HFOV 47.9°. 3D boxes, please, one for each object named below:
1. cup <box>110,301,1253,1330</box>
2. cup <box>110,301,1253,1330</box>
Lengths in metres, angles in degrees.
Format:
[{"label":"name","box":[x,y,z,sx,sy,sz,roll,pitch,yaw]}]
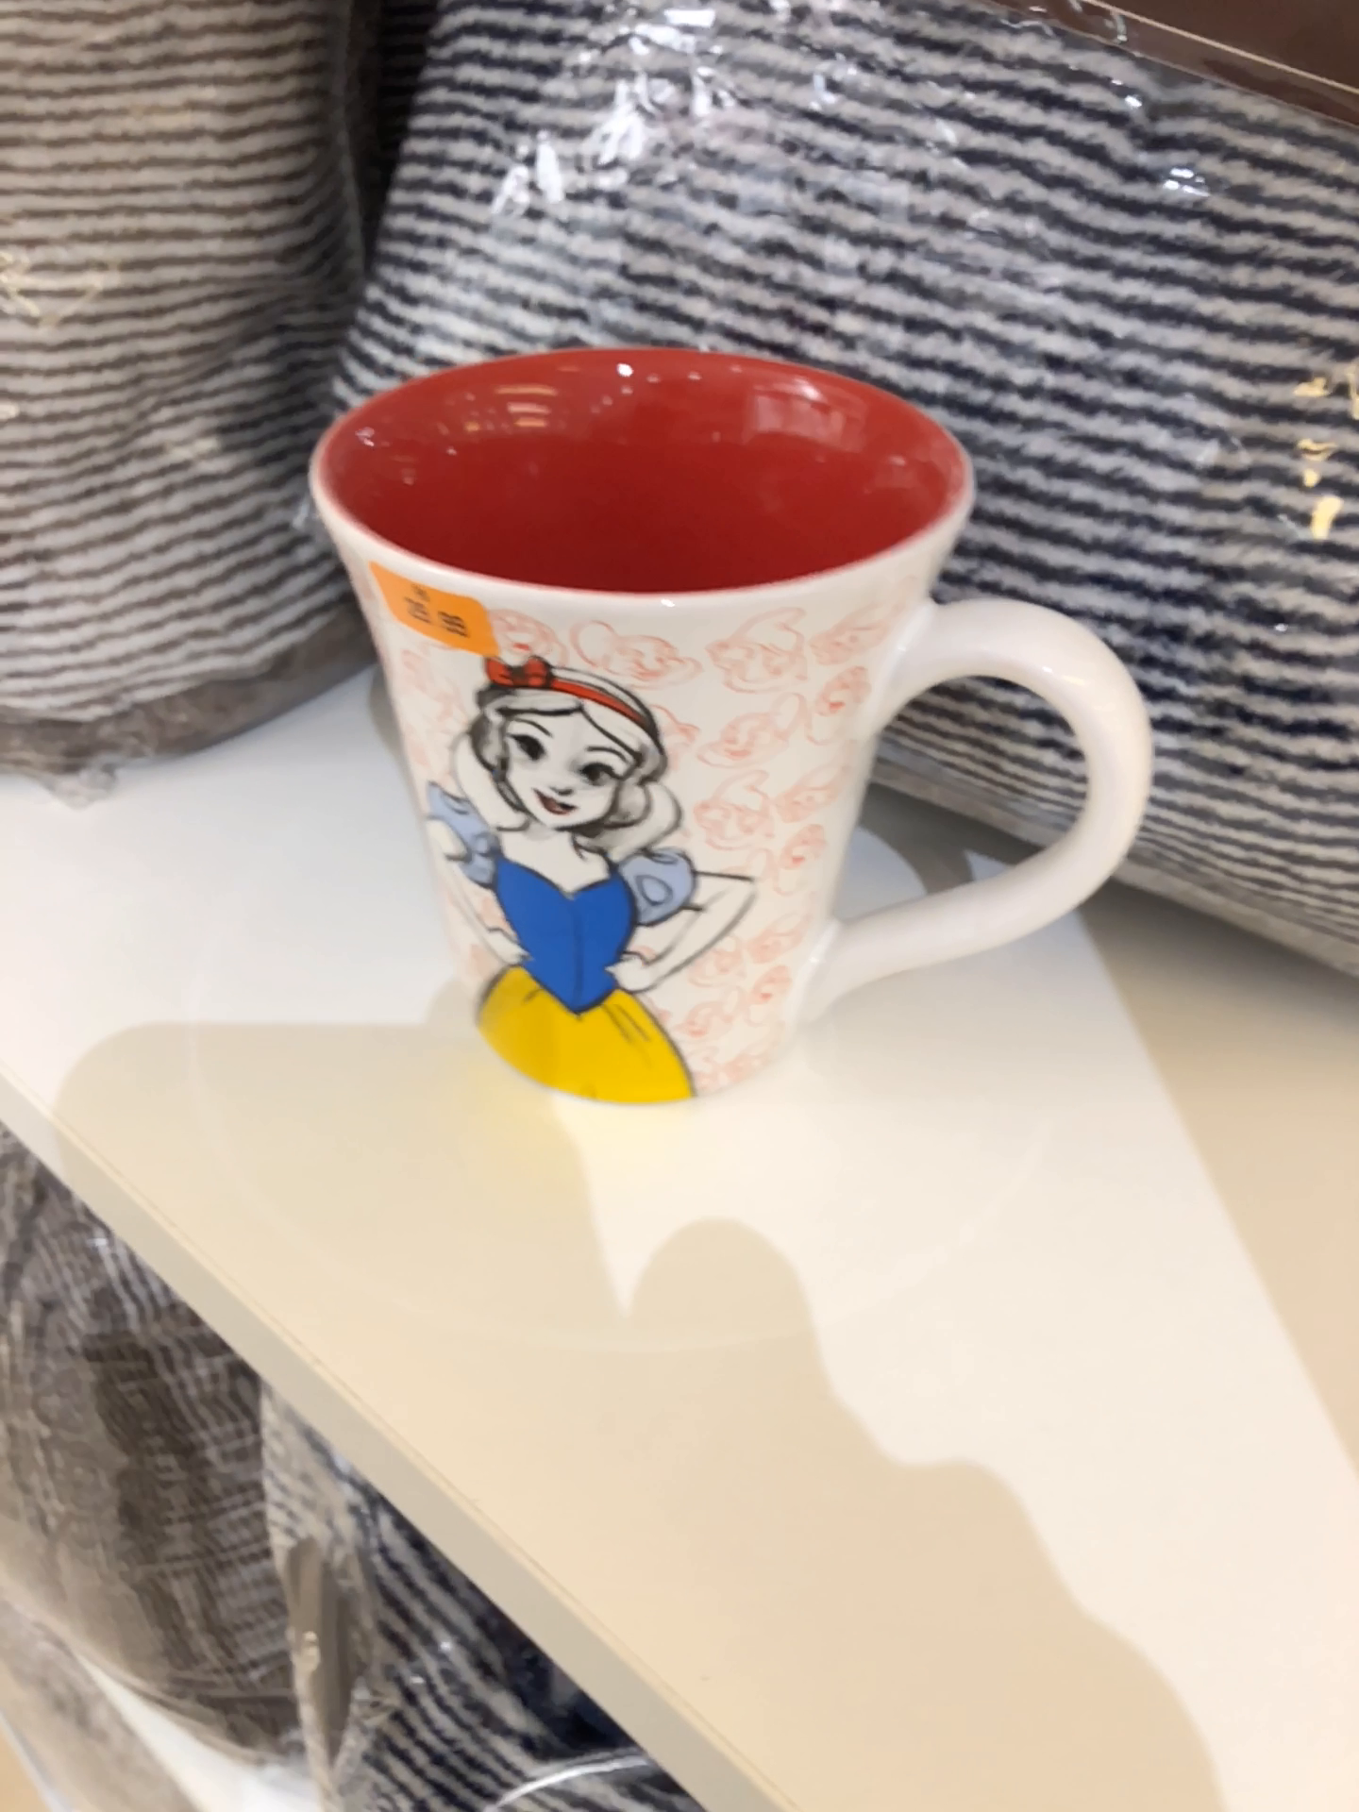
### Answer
[{"label":"cup","box":[0.004,-0.022,0.224,0.120,0.089,0.091,17,41,20]},{"label":"cup","box":[0.004,-0.022,0.224,0.120,0.089,0.091,17,41,20]}]
